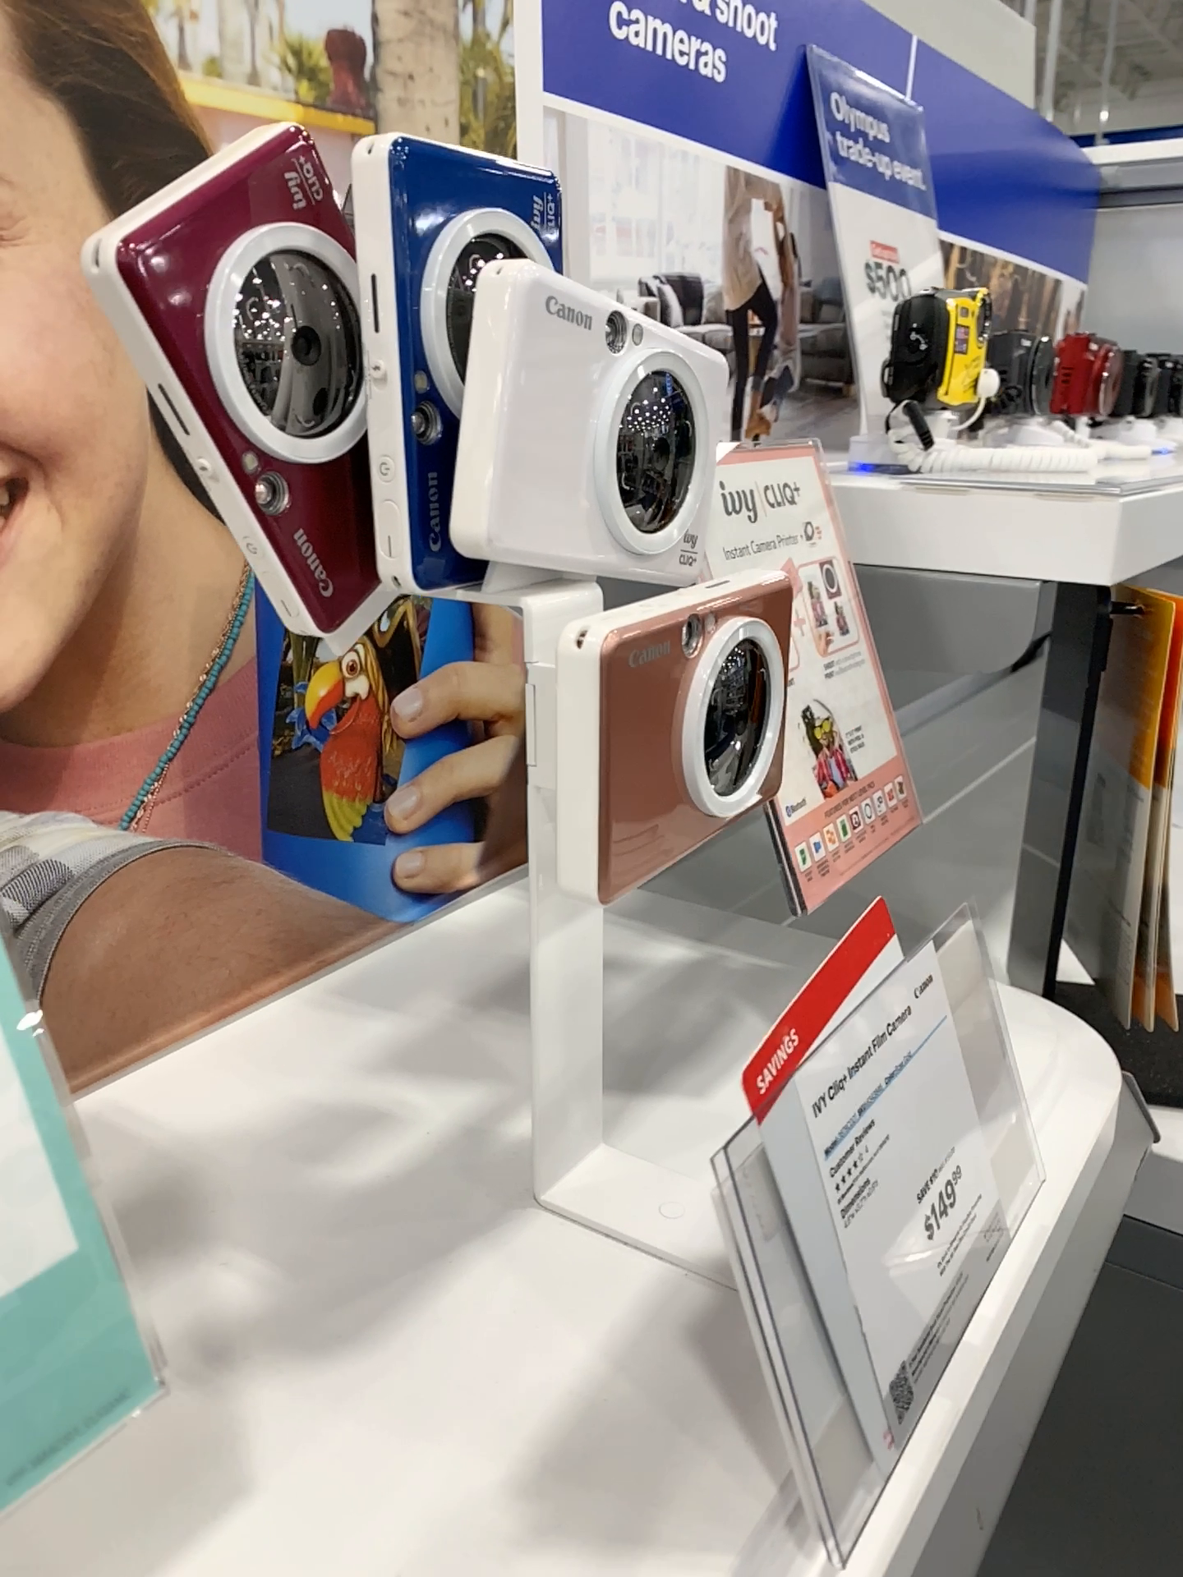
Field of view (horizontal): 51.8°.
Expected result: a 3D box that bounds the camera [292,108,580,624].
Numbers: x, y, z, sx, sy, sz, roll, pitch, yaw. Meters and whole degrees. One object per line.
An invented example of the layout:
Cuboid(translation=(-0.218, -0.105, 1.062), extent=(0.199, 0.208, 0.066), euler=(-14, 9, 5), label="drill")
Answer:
Cuboid(translation=(-0.042, -0.120, 0.361), extent=(0.030, 0.129, 0.080), euler=(14, 22, 39), label="camera")

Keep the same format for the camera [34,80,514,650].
Cuboid(translation=(-0.078, -0.111, 0.332), extent=(0.030, 0.119, 0.080), euler=(14, 51, 39), label="camera")

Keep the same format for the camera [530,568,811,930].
Cuboid(translation=(0.028, -0.019, 0.365), extent=(0.030, 0.080, 0.120), euler=(10, 20, 29), label="camera")

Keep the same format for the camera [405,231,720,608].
Cuboid(translation=(-0.004, -0.106, 0.378), extent=(0.030, 0.090, 0.120), euler=(10, 9, 30), label="camera")
